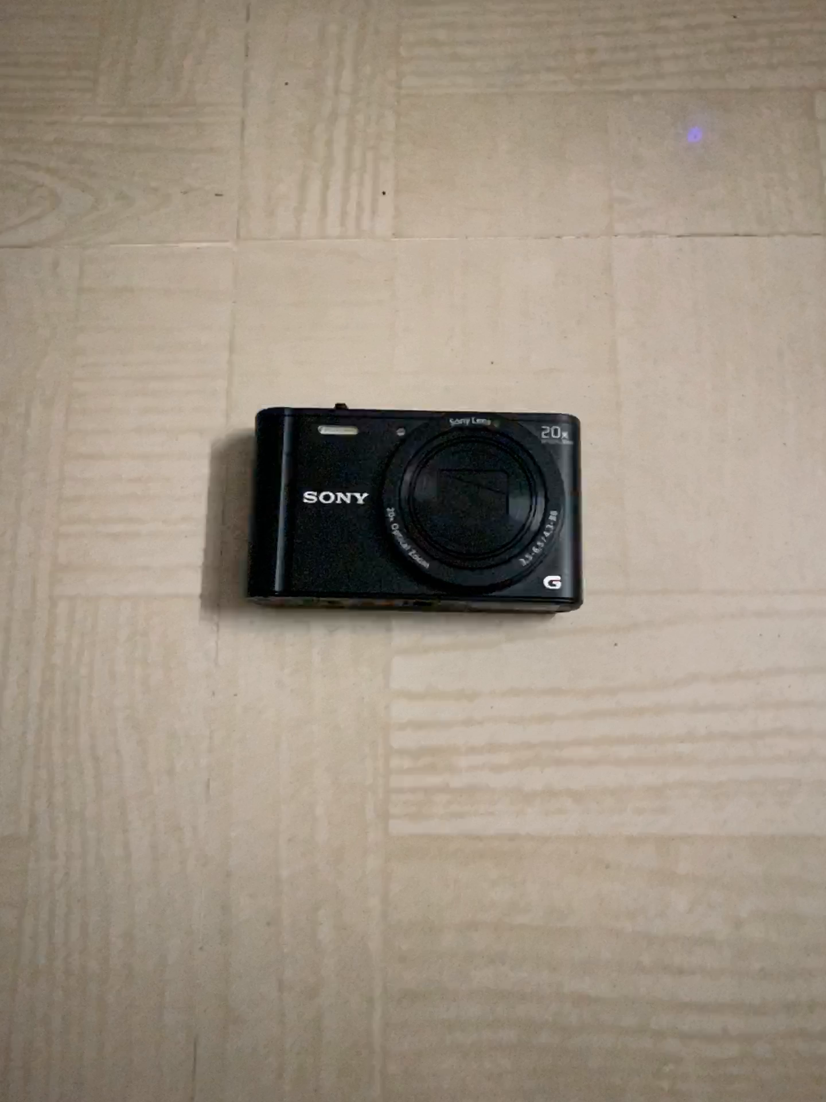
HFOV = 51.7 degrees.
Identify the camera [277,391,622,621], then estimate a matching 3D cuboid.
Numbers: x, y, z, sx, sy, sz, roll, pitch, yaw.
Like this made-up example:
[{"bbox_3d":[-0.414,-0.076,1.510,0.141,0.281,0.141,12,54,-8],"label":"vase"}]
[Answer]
[{"bbox_3d":[0.011,-0.012,0.246,0.092,0.025,0.060,1,79,2],"label":"camera"}]
